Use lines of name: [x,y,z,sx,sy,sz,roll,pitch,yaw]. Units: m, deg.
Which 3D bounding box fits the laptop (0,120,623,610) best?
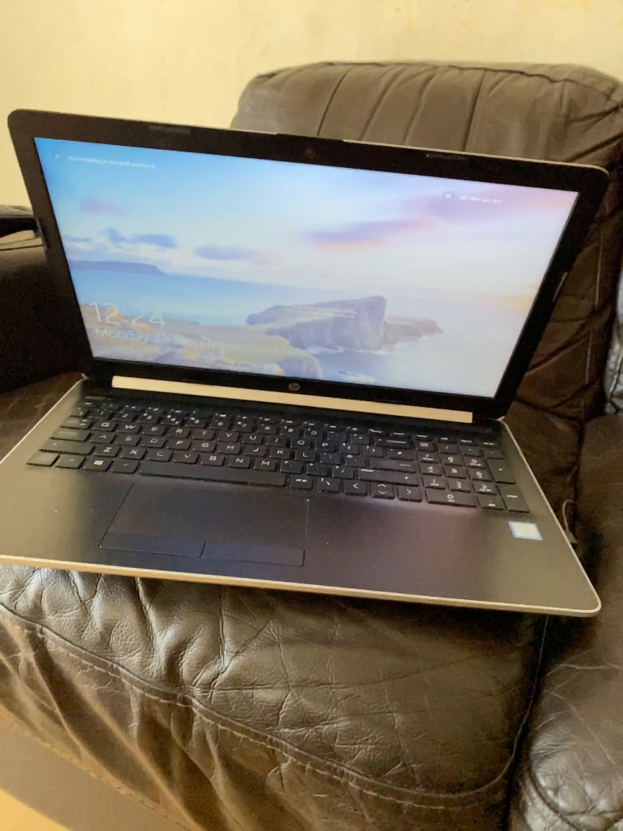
laptop: [-0.020,-0.059,0.418,0.371,0.212,0.238,5,24,1]
